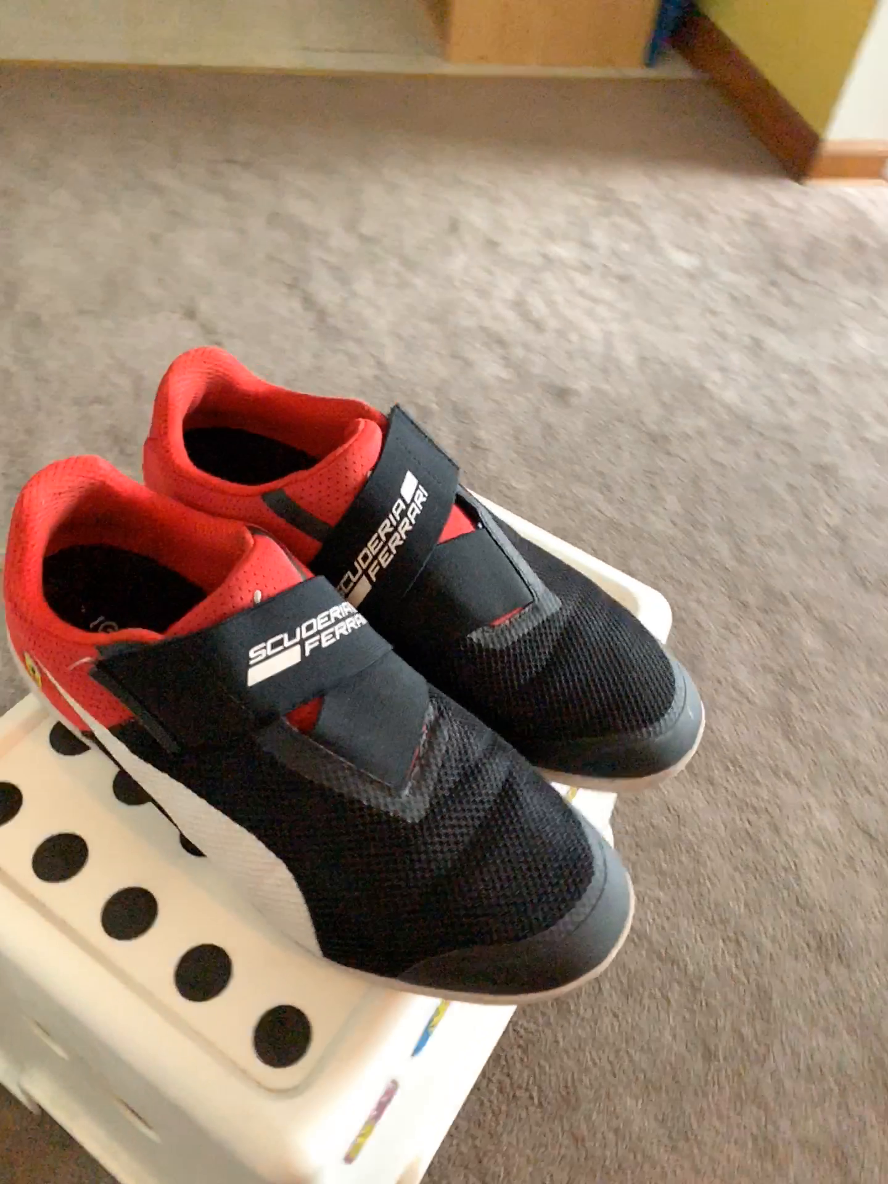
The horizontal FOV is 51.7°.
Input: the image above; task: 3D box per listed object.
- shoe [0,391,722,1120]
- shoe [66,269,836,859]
[{"bbox_3d":[-0.065,0.047,0.351,0.301,0.089,0.101,31,53,17],"label":"shoe"},{"bbox_3d":[-0.005,-0.025,0.405,0.300,0.089,0.111,28,52,15],"label":"shoe"}]
